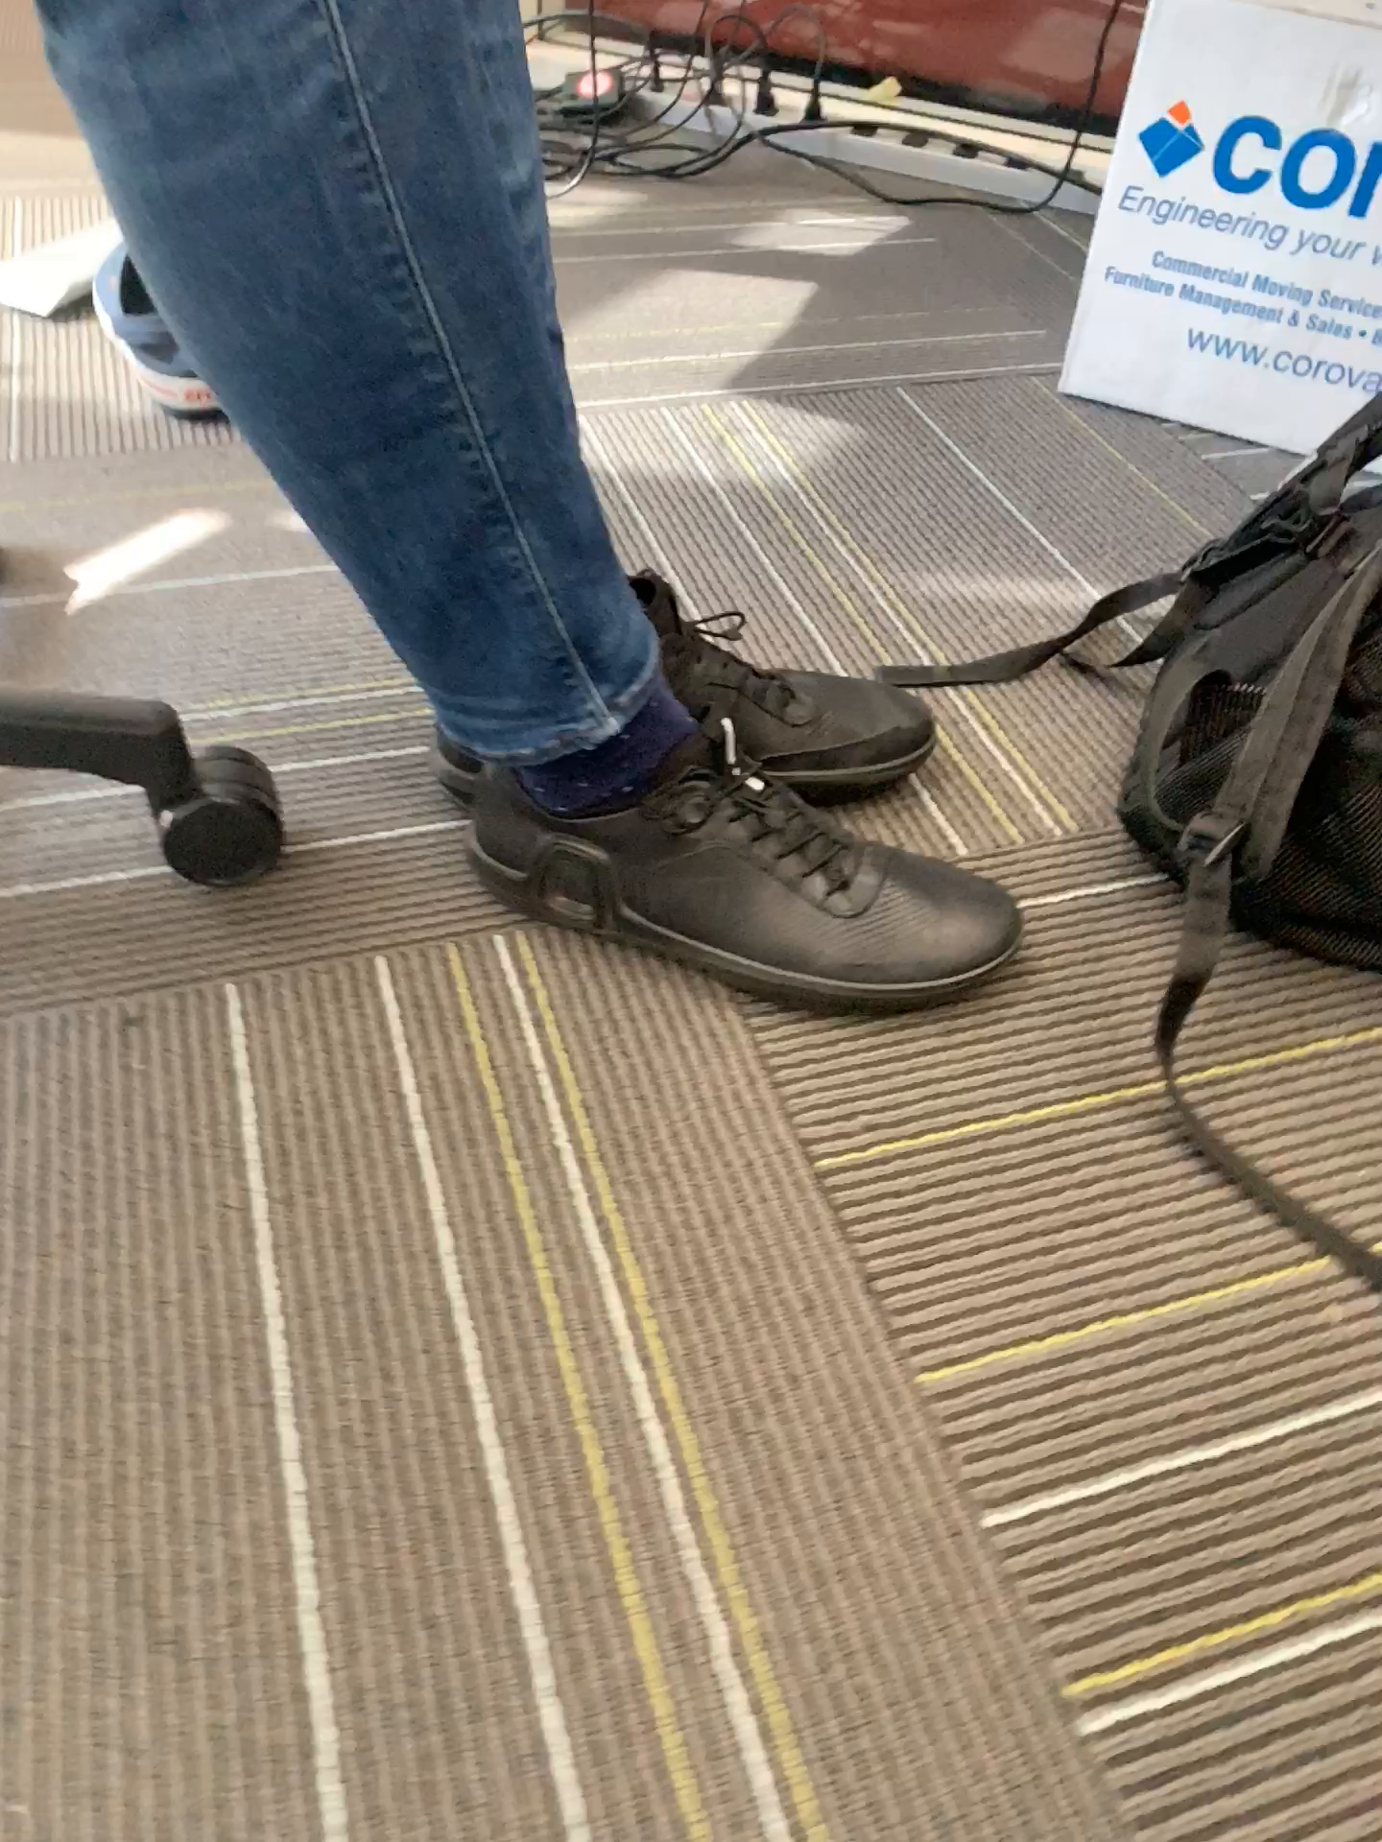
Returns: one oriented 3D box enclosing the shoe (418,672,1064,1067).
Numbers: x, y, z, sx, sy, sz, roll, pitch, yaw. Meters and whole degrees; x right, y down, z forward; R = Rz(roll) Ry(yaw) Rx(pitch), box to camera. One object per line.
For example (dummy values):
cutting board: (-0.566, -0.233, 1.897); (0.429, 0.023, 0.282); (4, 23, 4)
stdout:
shoe: (0.026, -0.031, 0.750); (0.310, 0.099, 0.111); (13, 44, 9)

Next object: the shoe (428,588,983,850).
shoe: (0.002, -0.125, 0.857); (0.310, 0.099, 0.111); (-3, 44, -8)
